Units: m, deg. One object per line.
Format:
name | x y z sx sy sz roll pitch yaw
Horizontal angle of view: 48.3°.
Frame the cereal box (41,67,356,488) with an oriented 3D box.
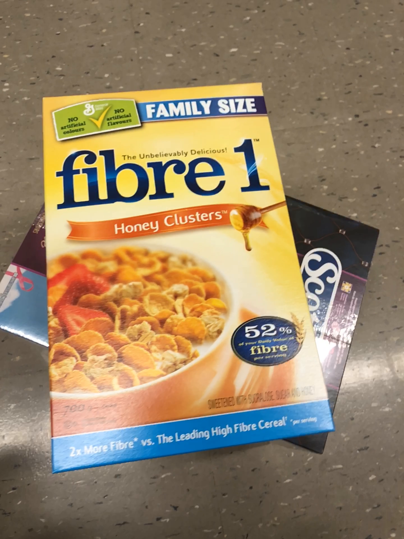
cereal box | -0.020 -0.011 0.383 0.200 0.080 0.320 -6 70 -7
